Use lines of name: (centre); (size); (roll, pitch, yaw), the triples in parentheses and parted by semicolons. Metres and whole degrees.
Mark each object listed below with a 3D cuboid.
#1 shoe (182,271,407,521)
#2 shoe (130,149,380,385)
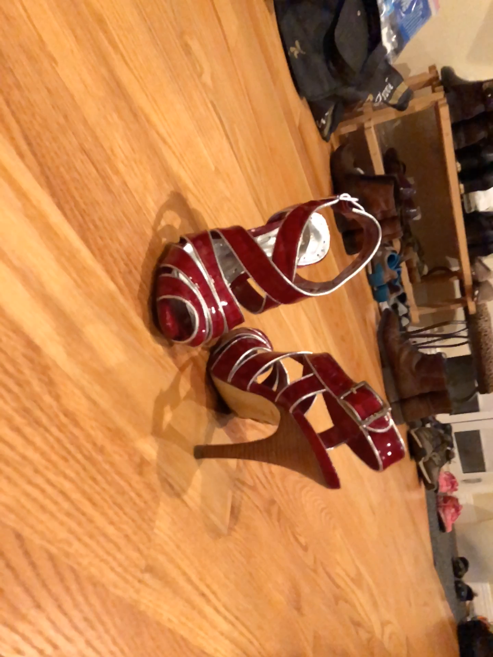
shoe: (0.052, 0.051, 0.465); (0.194, 0.141, 0.091); (-72, 145, -54)
shoe: (0.025, -0.060, 0.450); (0.199, 0.151, 0.091); (-68, 142, -57)
